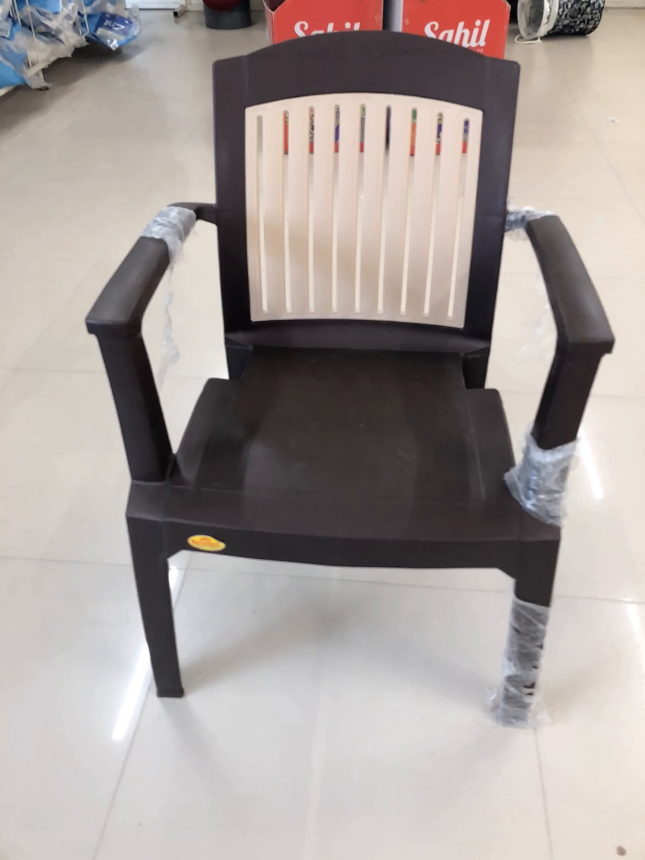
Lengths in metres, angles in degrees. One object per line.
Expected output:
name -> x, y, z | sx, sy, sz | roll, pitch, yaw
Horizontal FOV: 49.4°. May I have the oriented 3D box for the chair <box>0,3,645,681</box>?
chair -> 0.037, -0.143, 0.863 | 0.600, 0.556, 0.655 | 0, 39, 1
